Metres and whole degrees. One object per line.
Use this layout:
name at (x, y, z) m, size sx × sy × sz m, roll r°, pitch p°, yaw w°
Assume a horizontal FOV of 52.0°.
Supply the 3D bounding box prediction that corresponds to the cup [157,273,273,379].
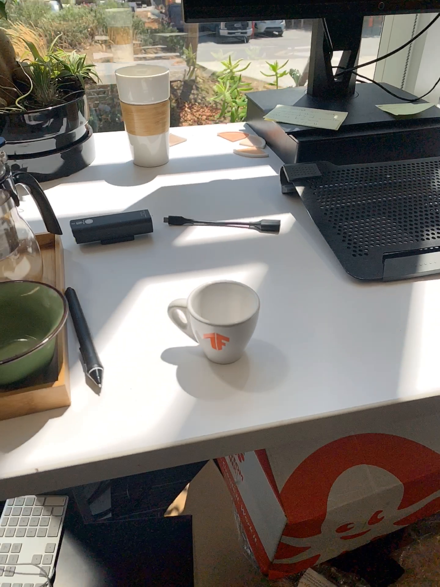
cup at (-0.002, 0.028, 0.409) m, size 0.090 × 0.060 × 0.060 m, roll 7°, pitch 38°, yaw 10°
